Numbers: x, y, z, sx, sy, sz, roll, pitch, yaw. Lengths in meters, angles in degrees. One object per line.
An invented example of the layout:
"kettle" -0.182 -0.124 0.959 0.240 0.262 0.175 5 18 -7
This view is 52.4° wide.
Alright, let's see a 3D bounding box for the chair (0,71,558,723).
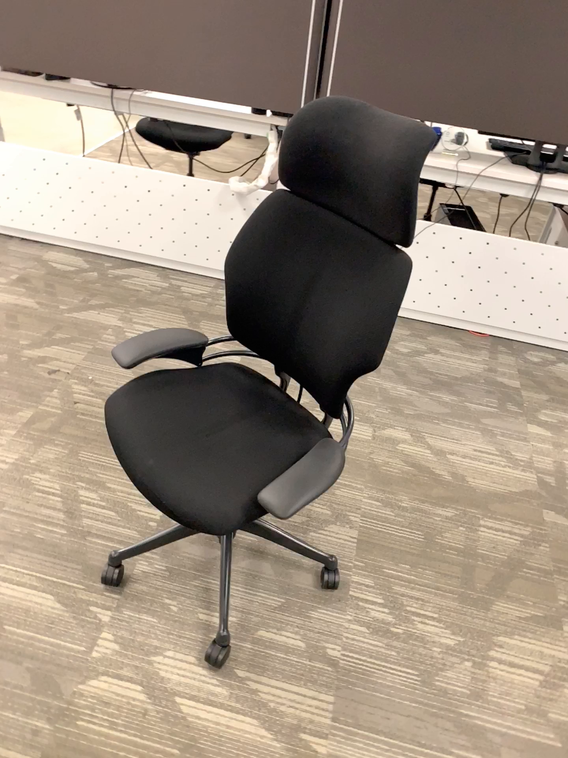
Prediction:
"chair" -0.085 -0.014 1.318 0.773 1.090 0.693 -24 47 -35
